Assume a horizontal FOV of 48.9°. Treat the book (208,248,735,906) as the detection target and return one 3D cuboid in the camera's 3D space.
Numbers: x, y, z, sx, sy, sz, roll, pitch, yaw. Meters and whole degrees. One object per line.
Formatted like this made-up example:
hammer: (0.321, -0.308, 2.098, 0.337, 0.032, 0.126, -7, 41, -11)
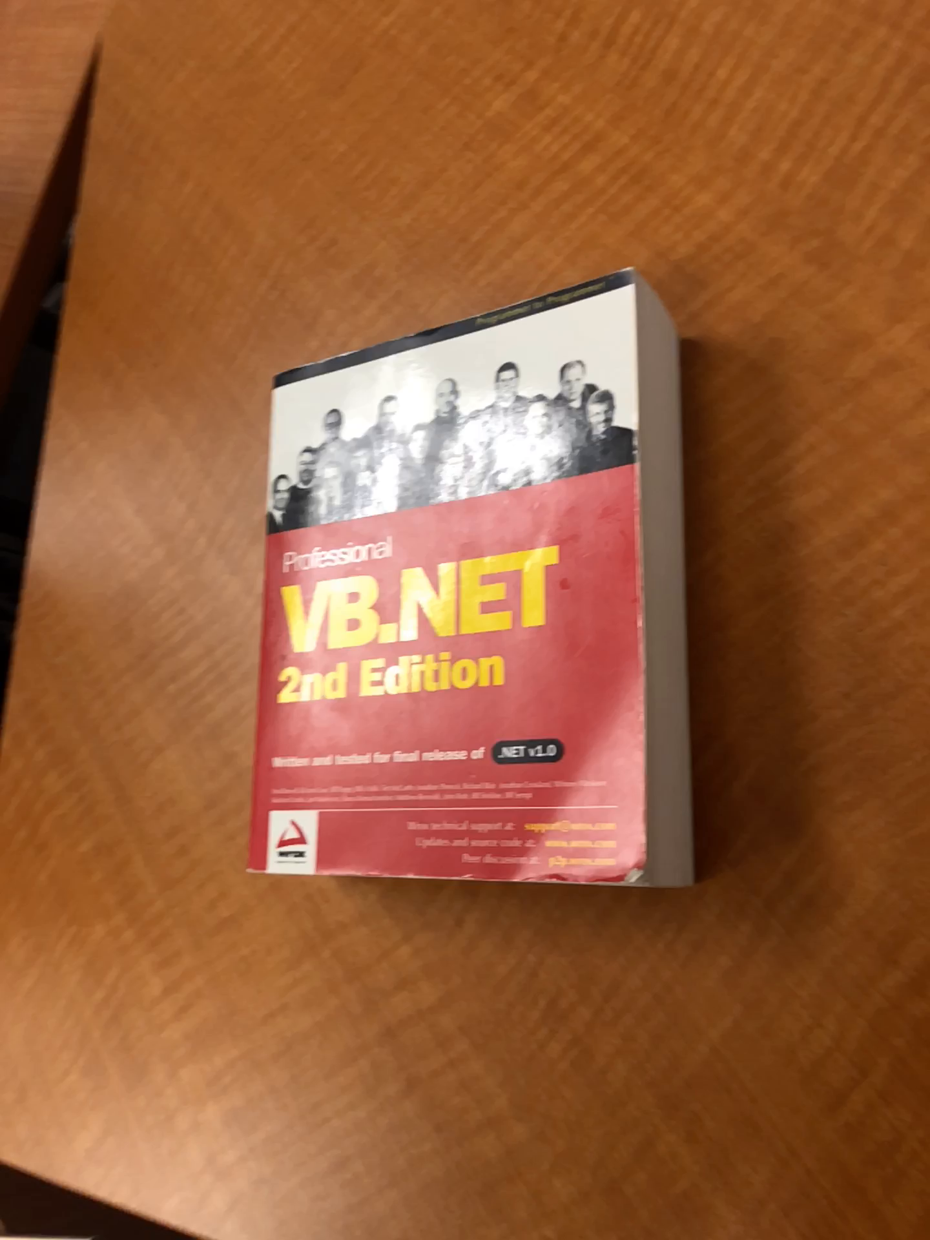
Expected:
book: (-0.001, -0.007, 0.420, 0.200, 0.060, 0.230, -6, 74, 31)
